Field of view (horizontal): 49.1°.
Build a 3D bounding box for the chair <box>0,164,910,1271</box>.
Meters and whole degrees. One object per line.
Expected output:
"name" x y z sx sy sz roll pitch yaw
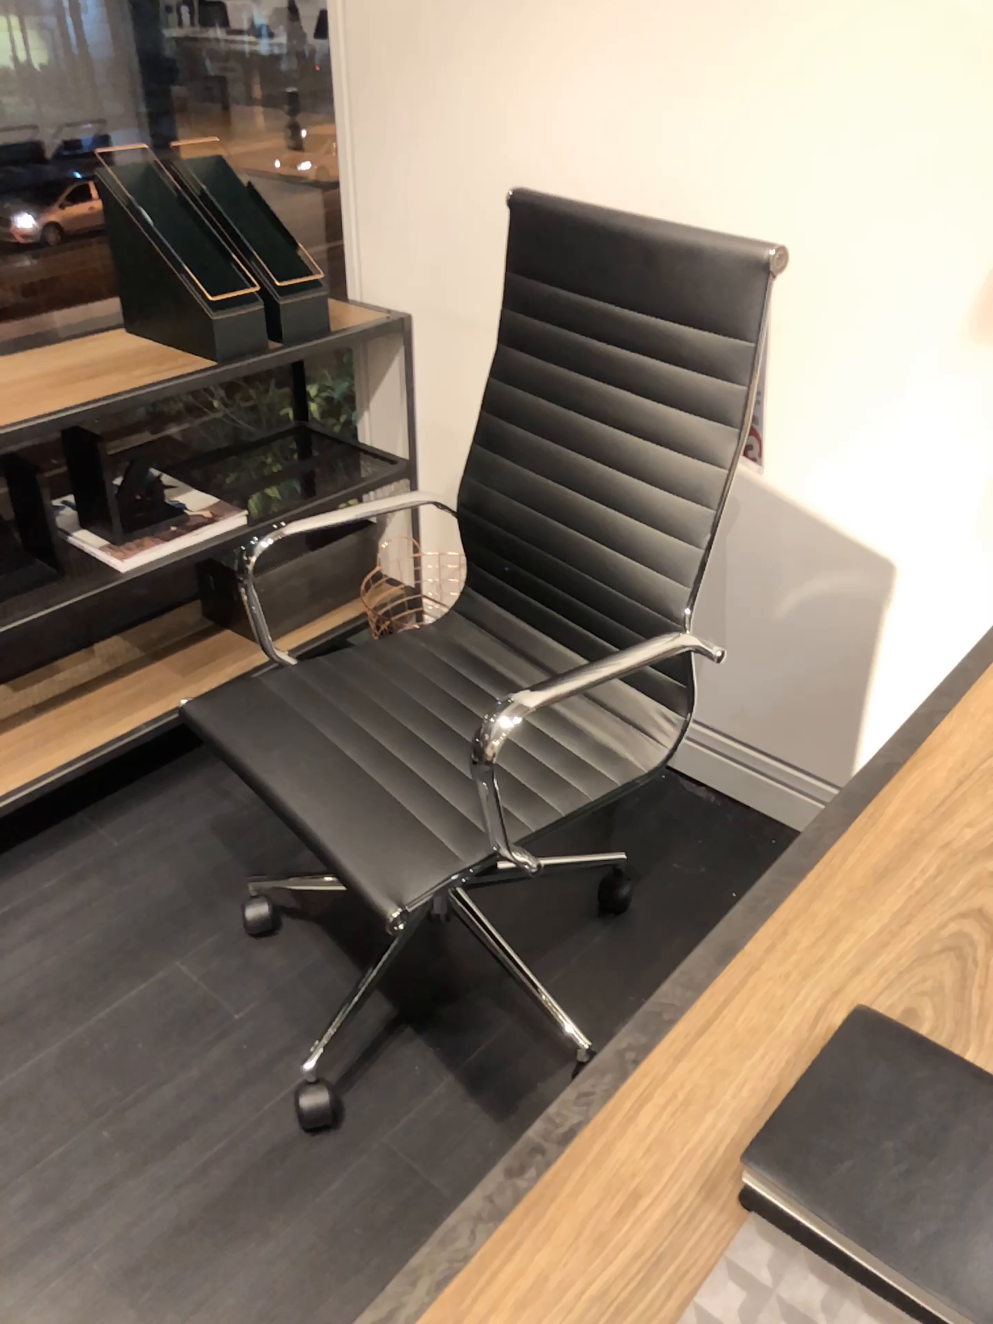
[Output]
"chair" -0.066 0.009 1.390 0.662 1.052 0.683 -24 39 -32
